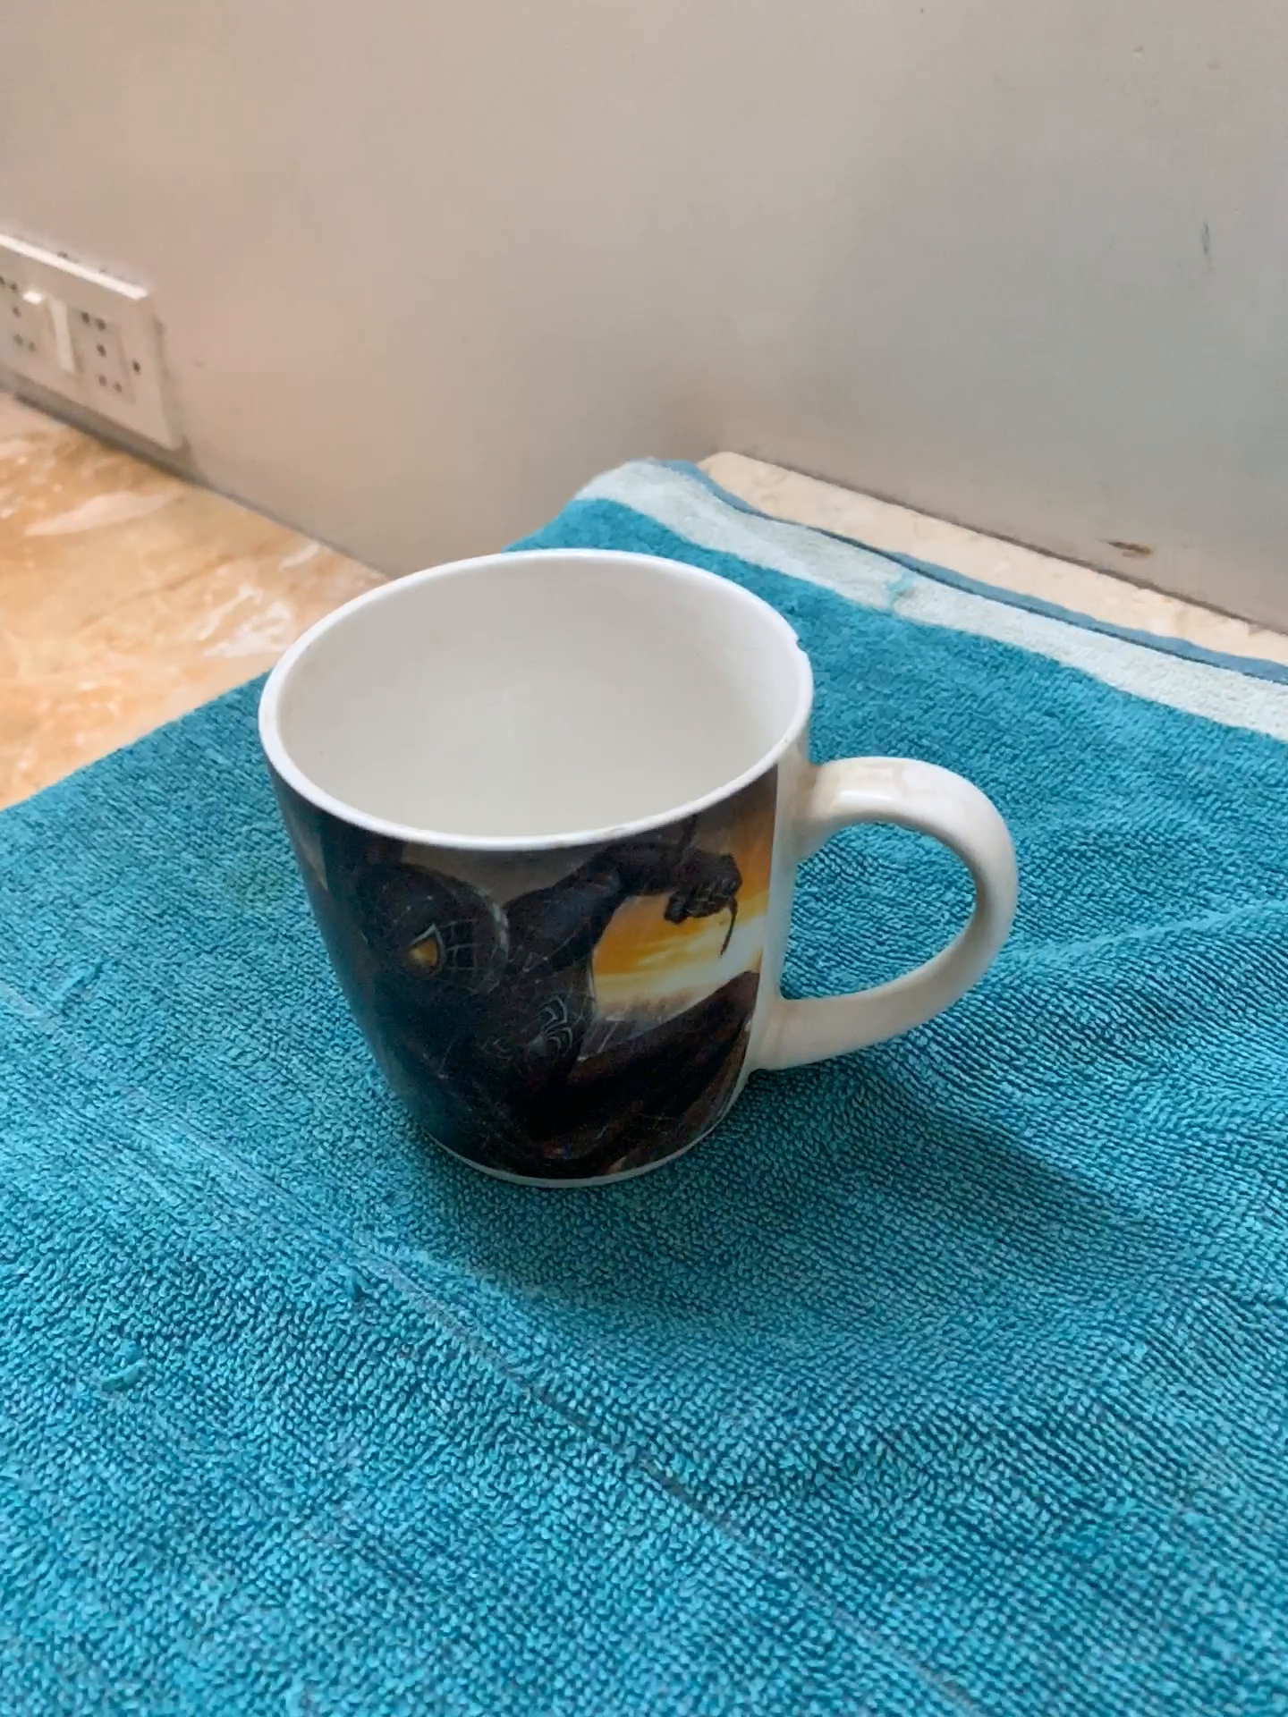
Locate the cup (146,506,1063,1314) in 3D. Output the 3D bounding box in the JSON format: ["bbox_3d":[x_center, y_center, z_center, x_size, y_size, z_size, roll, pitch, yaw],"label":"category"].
[{"bbox_3d":[0.000,0.004,0.232,0.120,0.089,0.081,10,42,15],"label":"cup"}]
